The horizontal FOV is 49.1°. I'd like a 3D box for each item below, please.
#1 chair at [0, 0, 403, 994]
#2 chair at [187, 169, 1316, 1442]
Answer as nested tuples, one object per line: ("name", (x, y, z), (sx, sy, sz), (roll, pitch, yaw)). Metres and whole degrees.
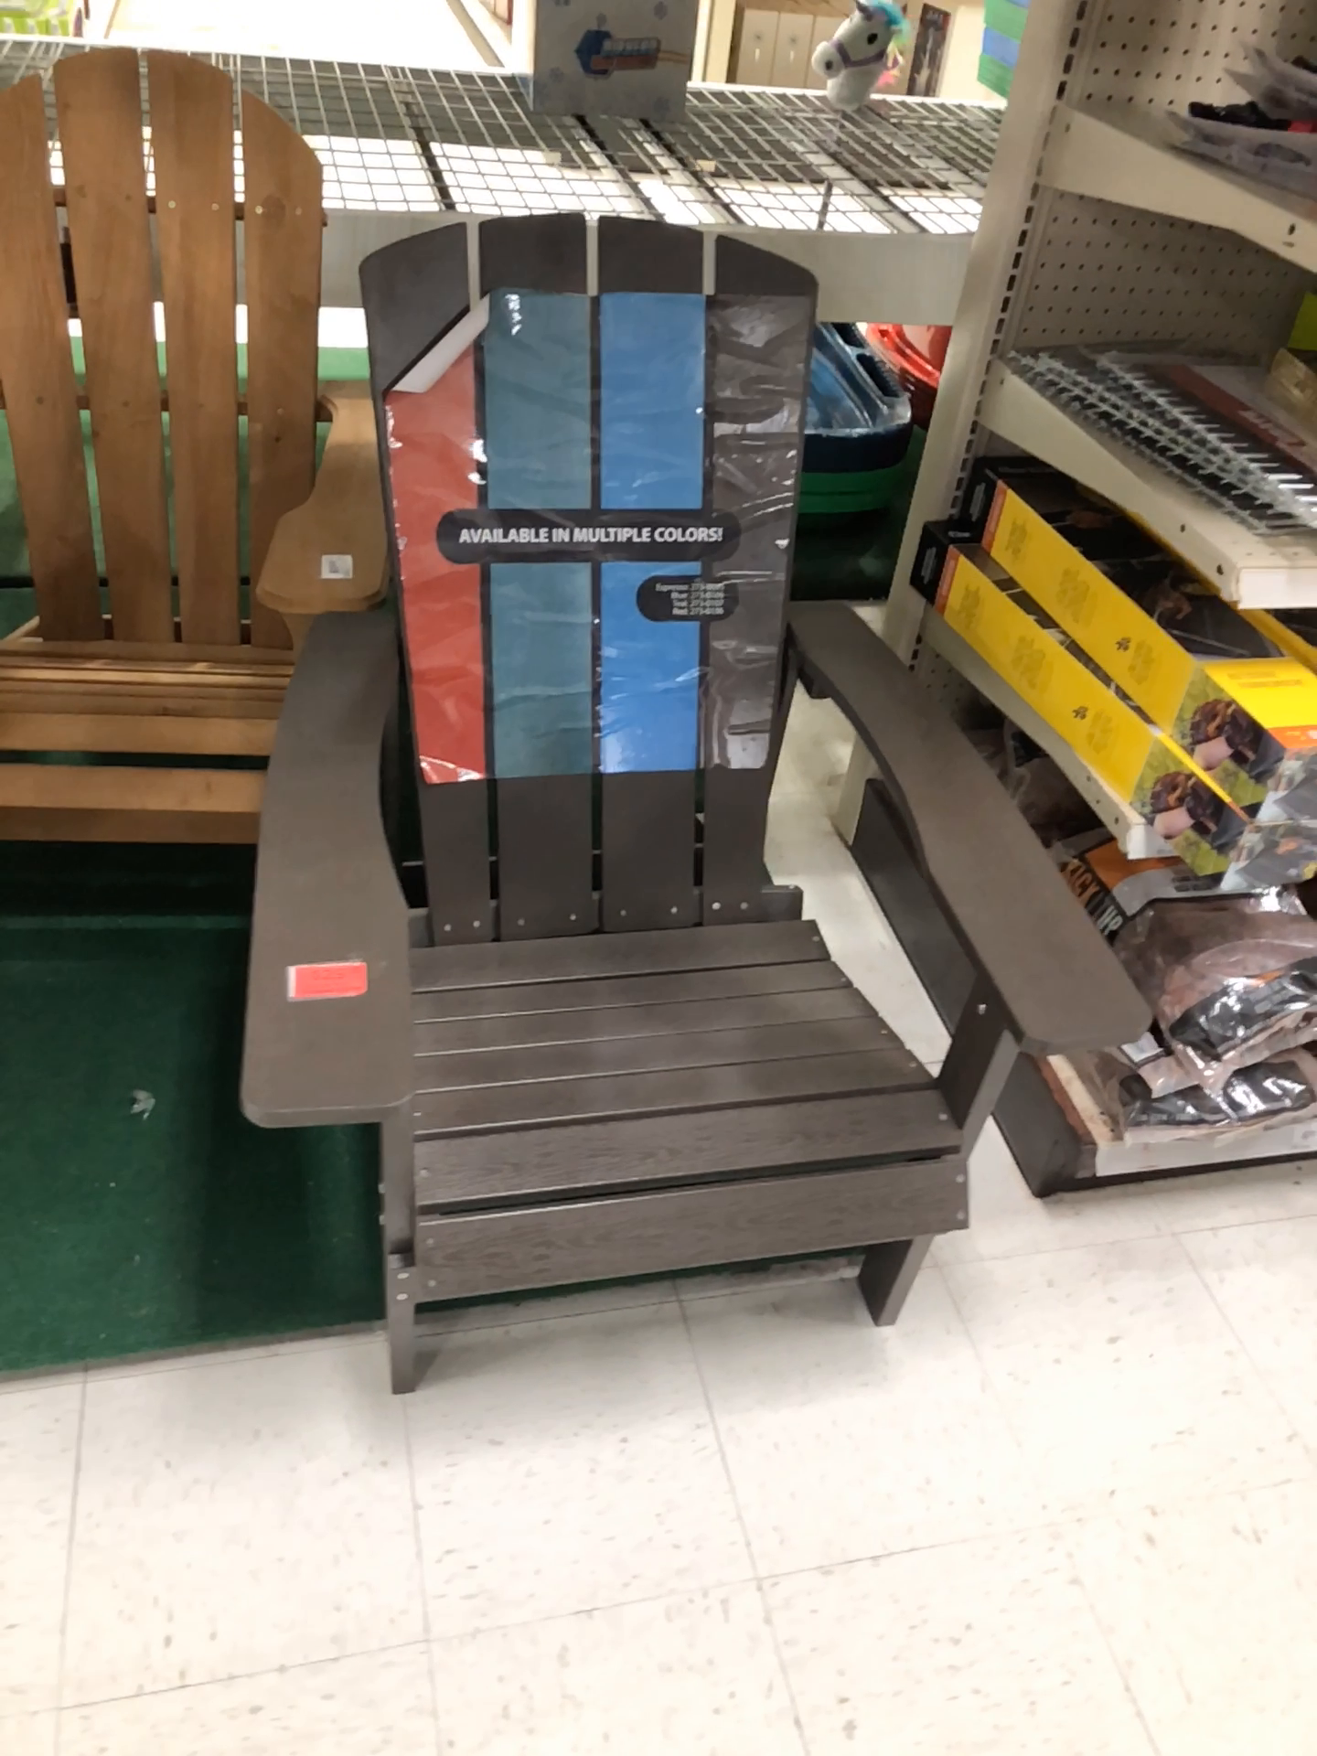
("chair", (-0.656, -0.504, 1.822), (0.637, 0.846, 0.979), (0, 40, -9))
("chair", (-0.047, -0.127, 1.449), (0.717, 0.816, 0.919), (-4, 41, -14))
